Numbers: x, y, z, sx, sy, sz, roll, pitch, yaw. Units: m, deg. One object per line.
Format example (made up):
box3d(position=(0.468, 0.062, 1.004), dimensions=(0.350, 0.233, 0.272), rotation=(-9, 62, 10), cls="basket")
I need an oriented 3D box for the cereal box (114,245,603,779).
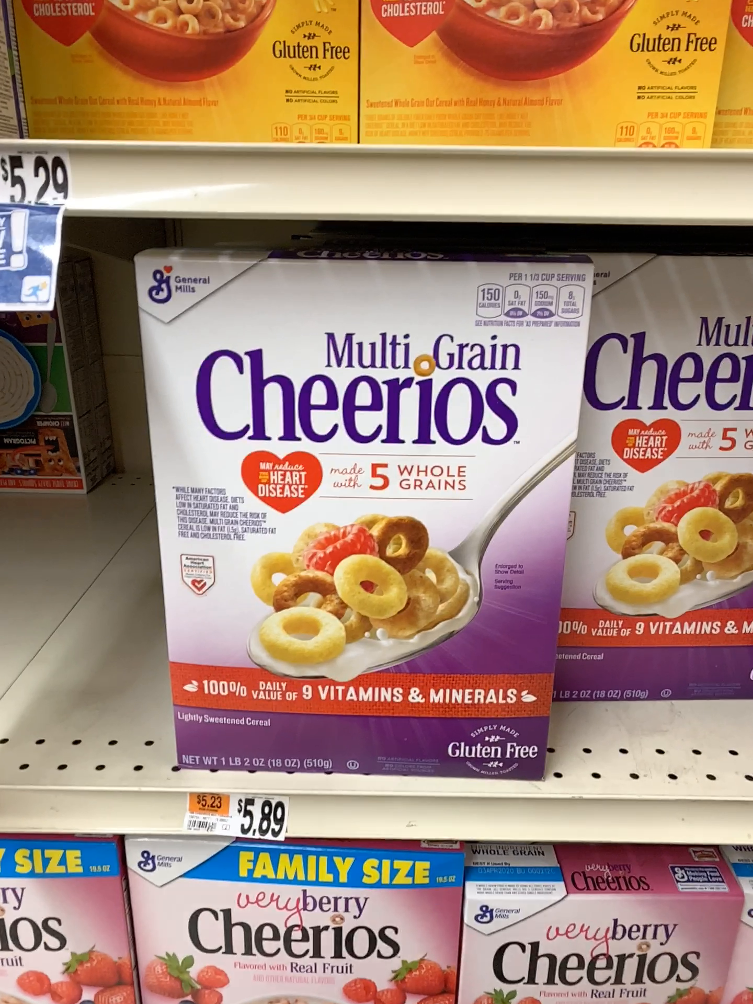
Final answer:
box3d(position=(-0.011, 0.011, 0.476), dimensions=(0.250, 0.319, 0.070), rotation=(1, 19, 1), cls="cereal box")
